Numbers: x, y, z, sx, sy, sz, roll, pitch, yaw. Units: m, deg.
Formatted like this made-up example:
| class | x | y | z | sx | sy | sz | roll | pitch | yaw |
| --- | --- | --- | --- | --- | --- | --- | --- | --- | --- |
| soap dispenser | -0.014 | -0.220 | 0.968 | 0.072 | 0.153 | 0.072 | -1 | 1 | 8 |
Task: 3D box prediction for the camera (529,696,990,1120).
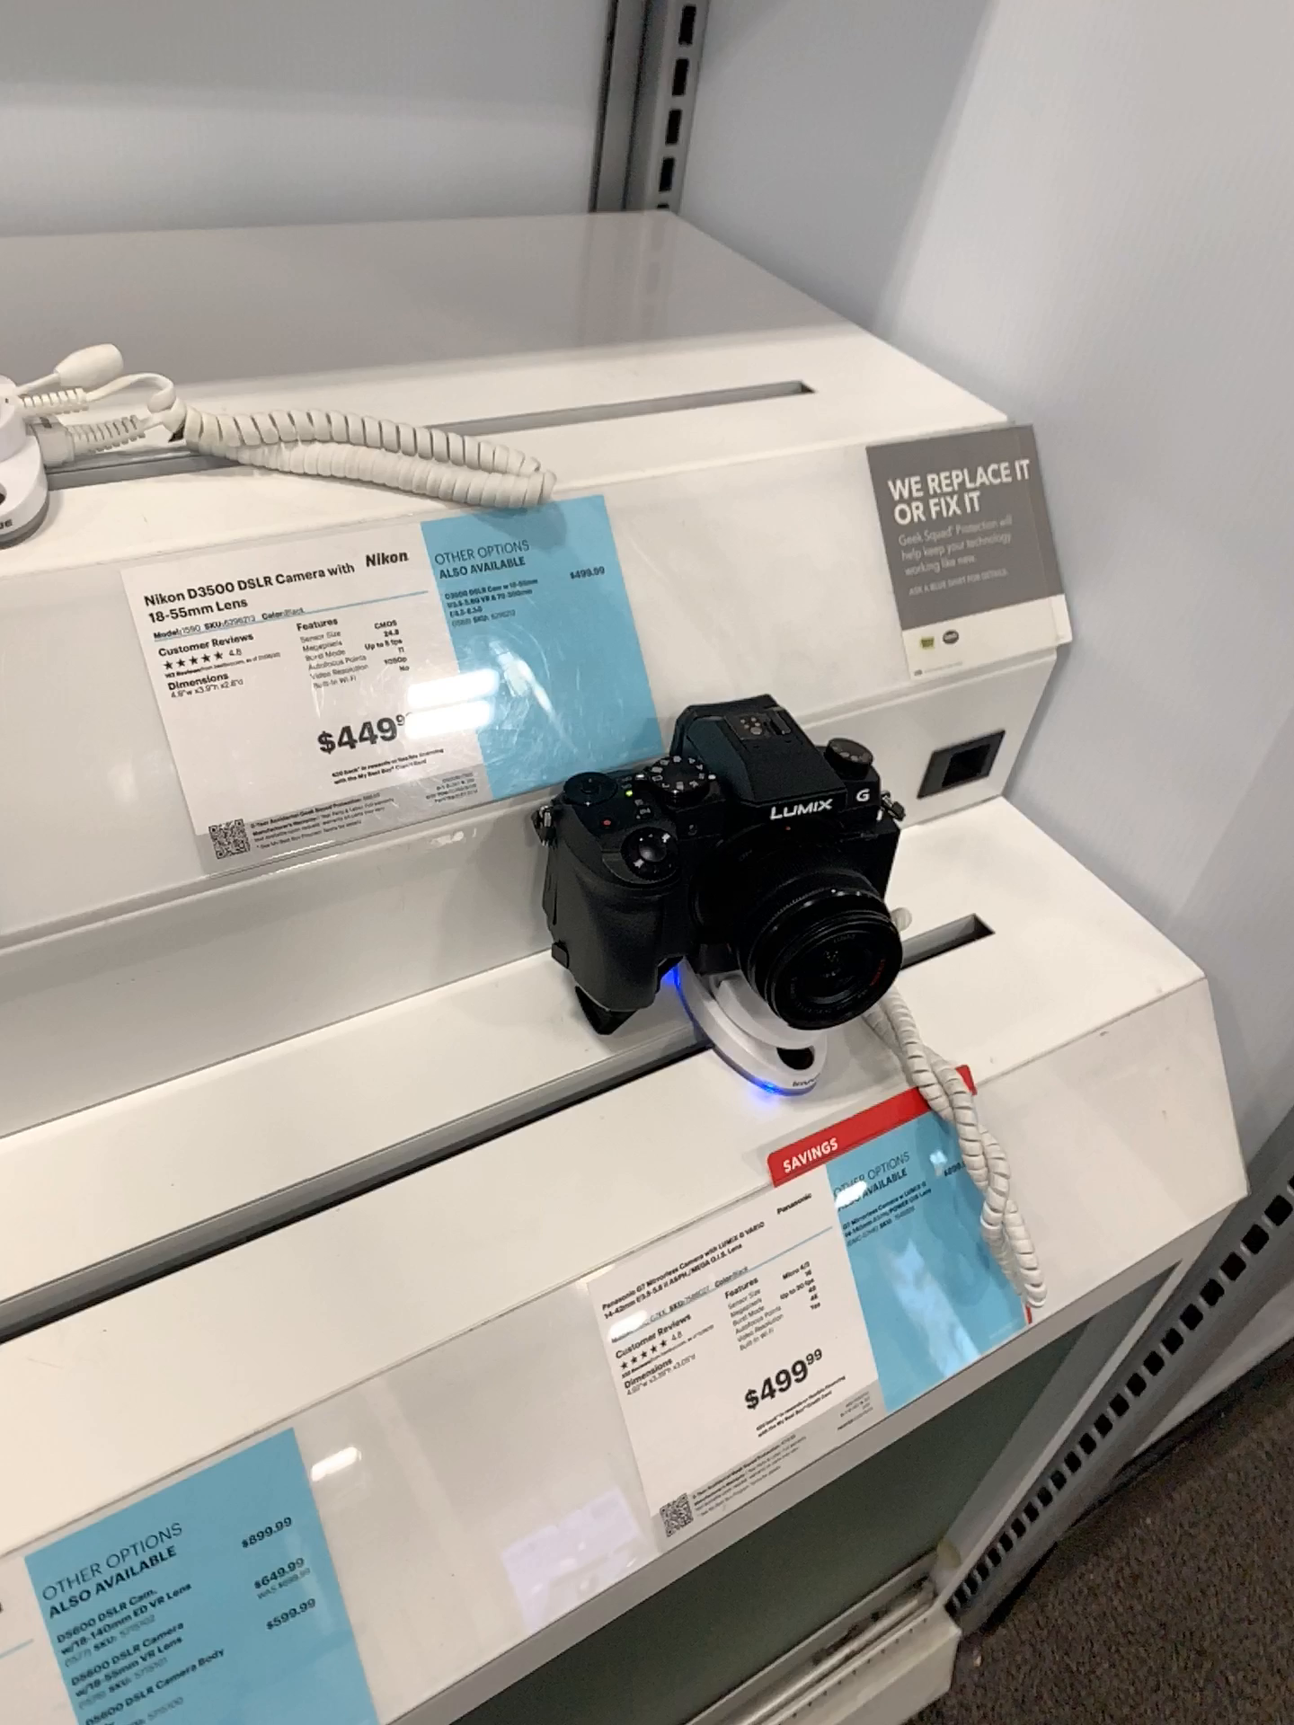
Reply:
| class | x | y | z | sx | sy | sz | roll | pitch | yaw |
| --- | --- | --- | --- | --- | --- | --- | --- | --- | --- |
| camera | 0.034 | 0.011 | 0.486 | 0.118 | 0.080 | 0.115 | -10 | 45 | -21 |
